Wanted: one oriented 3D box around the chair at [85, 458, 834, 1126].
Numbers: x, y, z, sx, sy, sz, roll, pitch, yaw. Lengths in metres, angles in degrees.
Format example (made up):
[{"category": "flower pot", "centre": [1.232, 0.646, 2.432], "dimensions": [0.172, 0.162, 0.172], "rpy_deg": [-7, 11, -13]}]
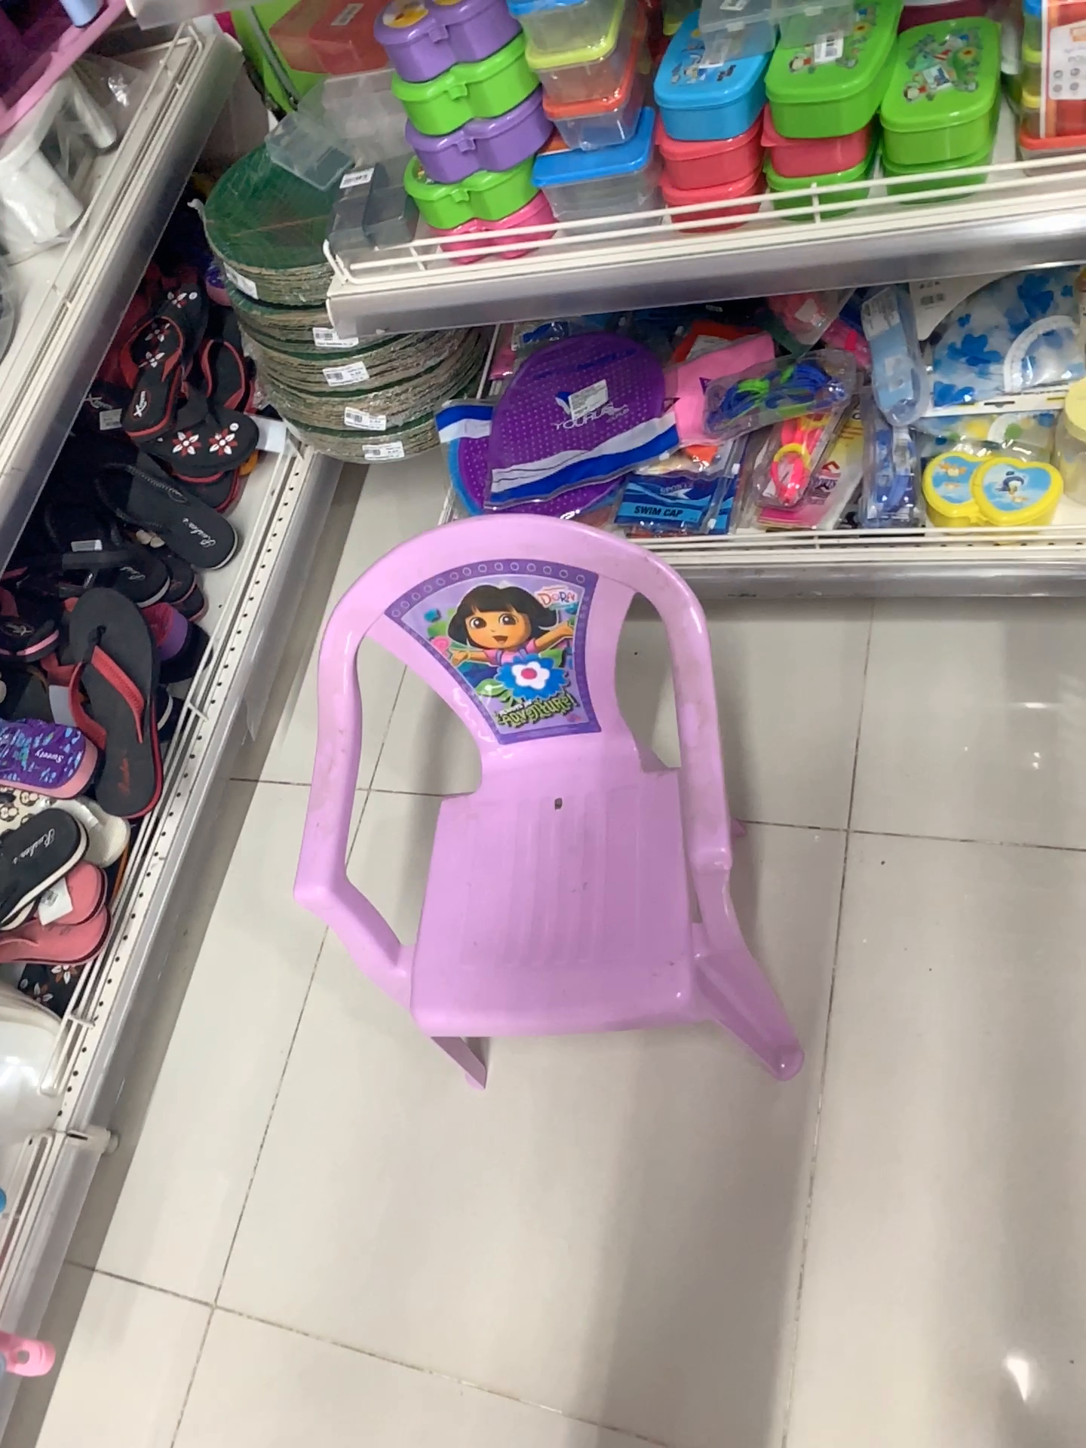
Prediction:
[{"category": "chair", "centre": [-0.015, 0.102, 0.866], "dimensions": [0.401, 0.429, 0.340], "rpy_deg": [-8, 61, 17]}]
